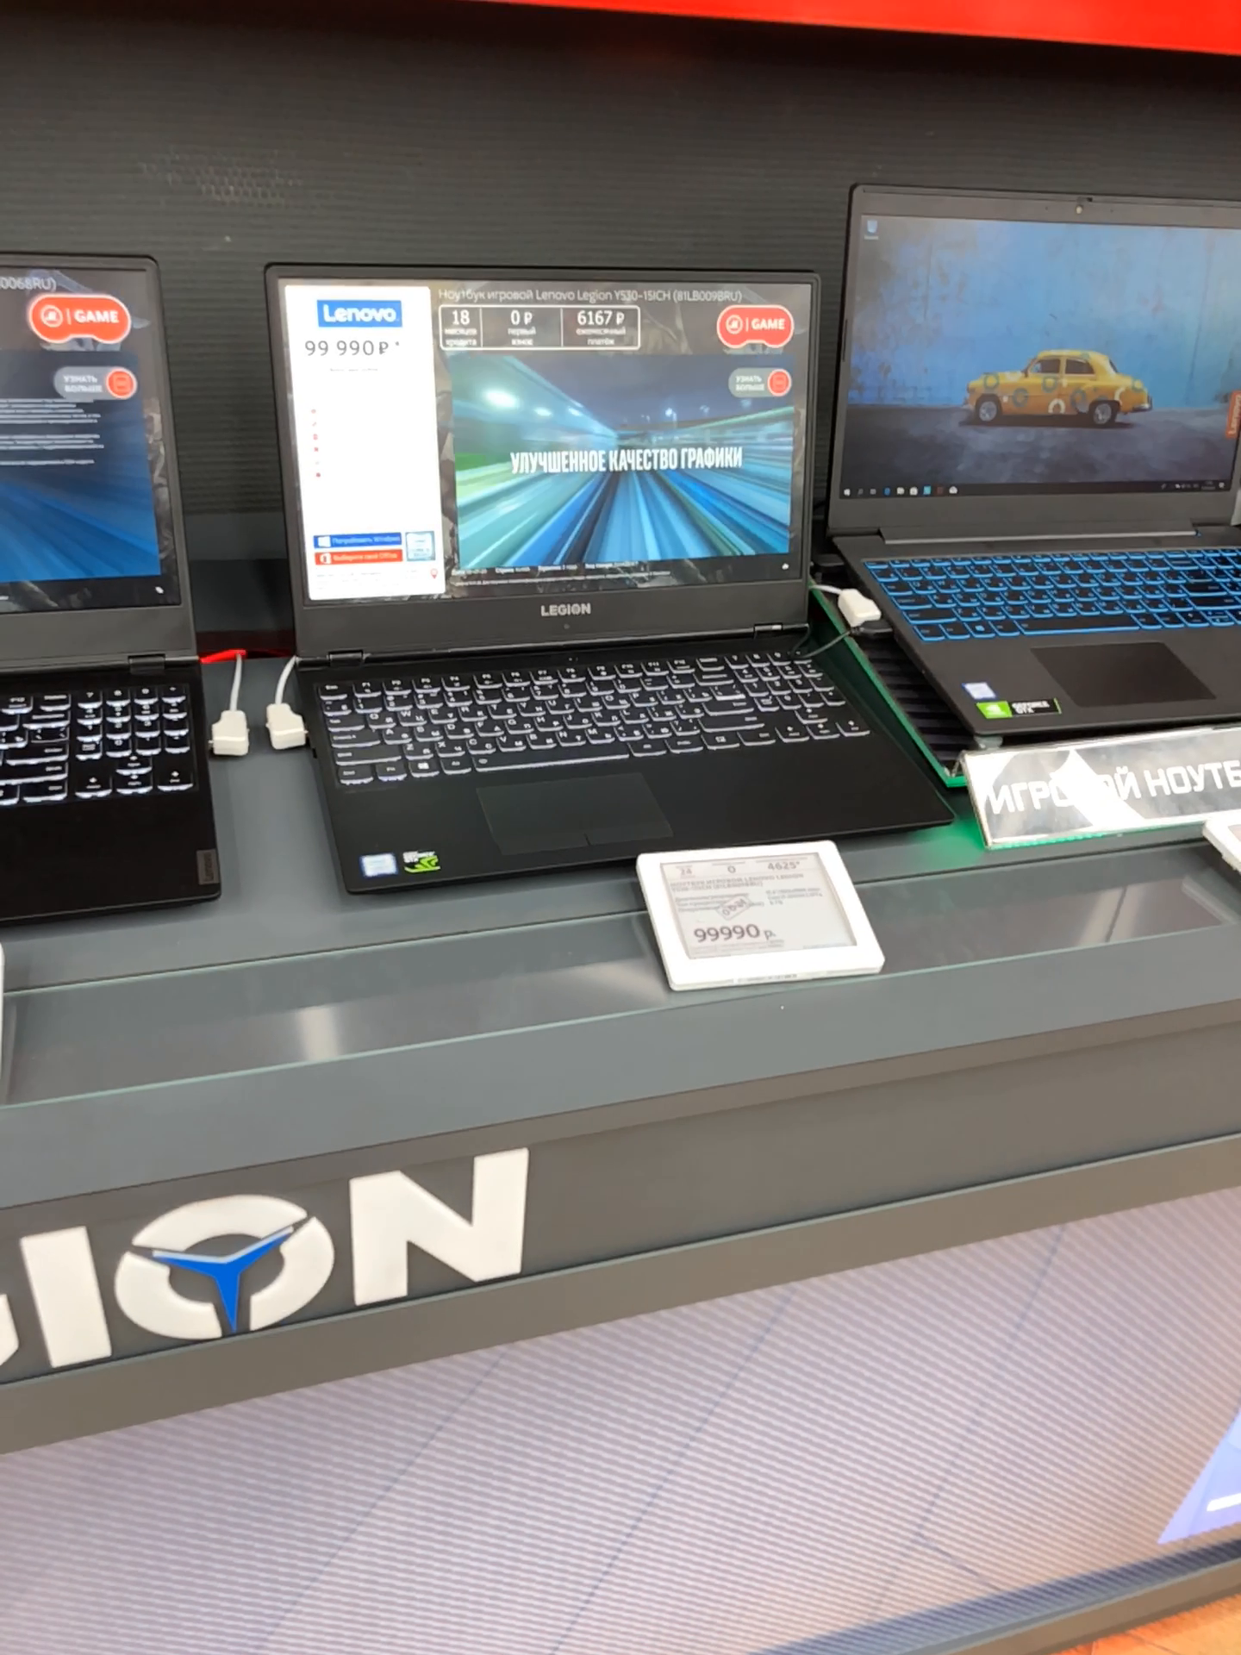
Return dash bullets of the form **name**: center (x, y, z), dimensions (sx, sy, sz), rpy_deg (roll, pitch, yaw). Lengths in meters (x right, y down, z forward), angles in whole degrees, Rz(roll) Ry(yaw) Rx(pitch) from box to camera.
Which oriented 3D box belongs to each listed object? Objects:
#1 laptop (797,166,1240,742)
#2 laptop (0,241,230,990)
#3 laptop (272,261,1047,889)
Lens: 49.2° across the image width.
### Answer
- **laptop**: center (0.357, -0.272, 0.930), dimensions (0.354, 0.225, 0.336), rpy_deg (-5, 40, -14)
- **laptop**: center (-0.407, -0.132, 0.686), dimensions (0.353, 0.223, 0.316), rpy_deg (-7, 37, -18)
- **laptop**: center (-0.006, -0.170, 0.799), dimensions (0.352, 0.225, 0.302), rpy_deg (-6, 37, -16)
